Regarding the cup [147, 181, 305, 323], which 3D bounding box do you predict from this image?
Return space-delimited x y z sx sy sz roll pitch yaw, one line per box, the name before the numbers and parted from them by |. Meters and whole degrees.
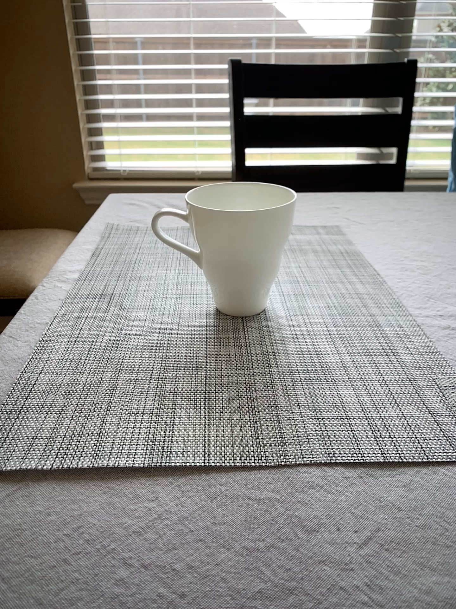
cup | -0.003 -0.051 0.423 0.121 0.098 0.099 -1 25 -1
